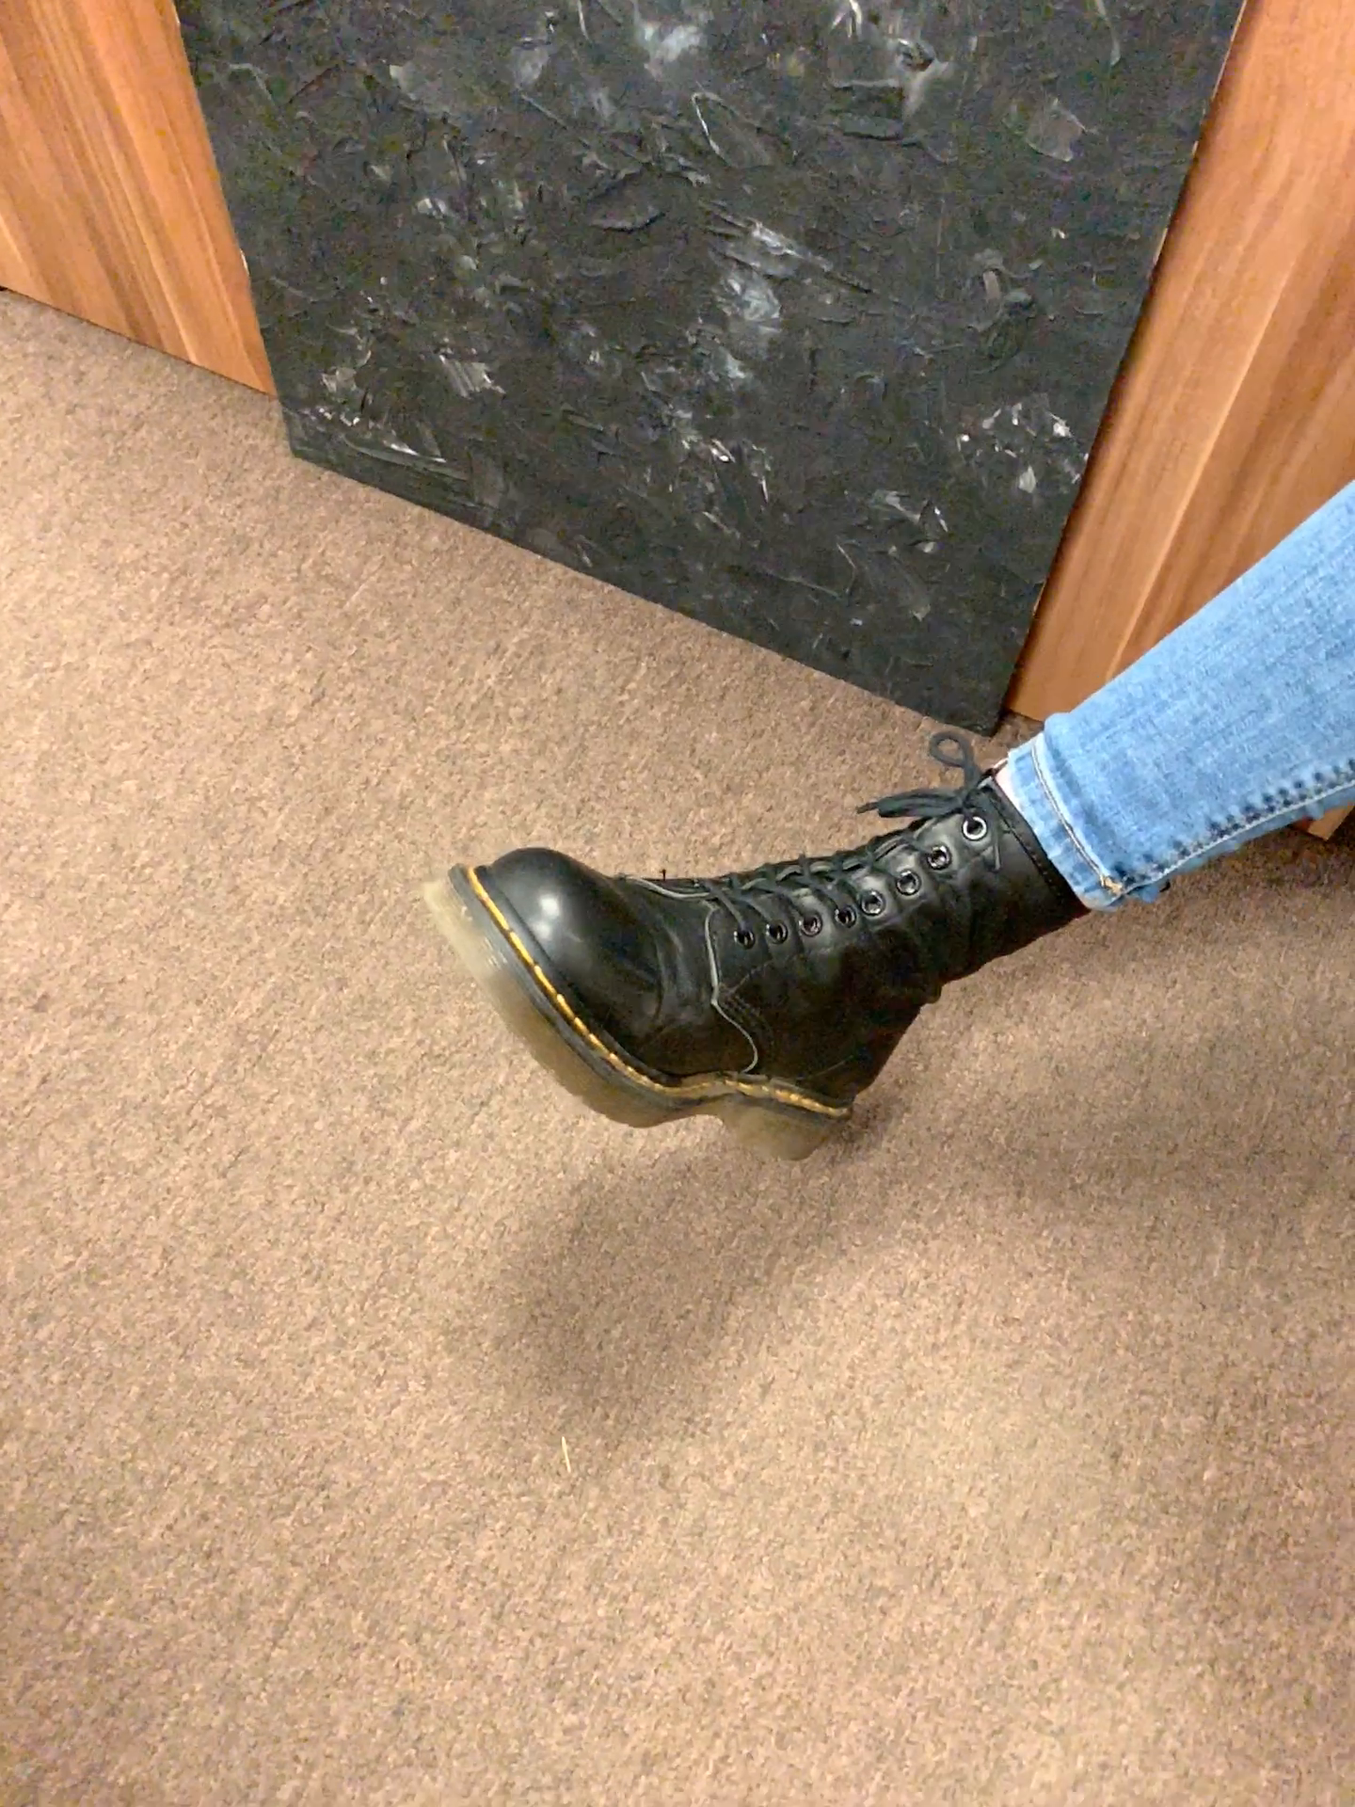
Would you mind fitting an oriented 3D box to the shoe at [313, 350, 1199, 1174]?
[{"bbox_3d":[0.071,-0.011,0.578,0.230,0.369,0.120,-37,65,11],"label":"shoe"}]
